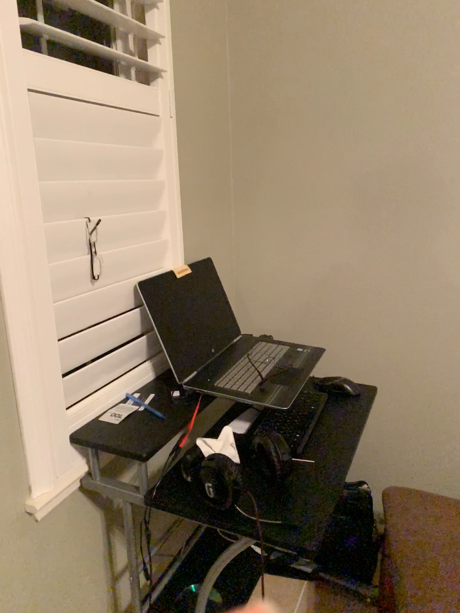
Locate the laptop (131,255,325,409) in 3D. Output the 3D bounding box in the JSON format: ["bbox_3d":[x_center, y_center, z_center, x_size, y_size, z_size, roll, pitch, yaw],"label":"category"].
[{"bbox_3d":[0.023,0.034,1.368,0.418,0.264,0.434,7,16,22],"label":"laptop"}]
